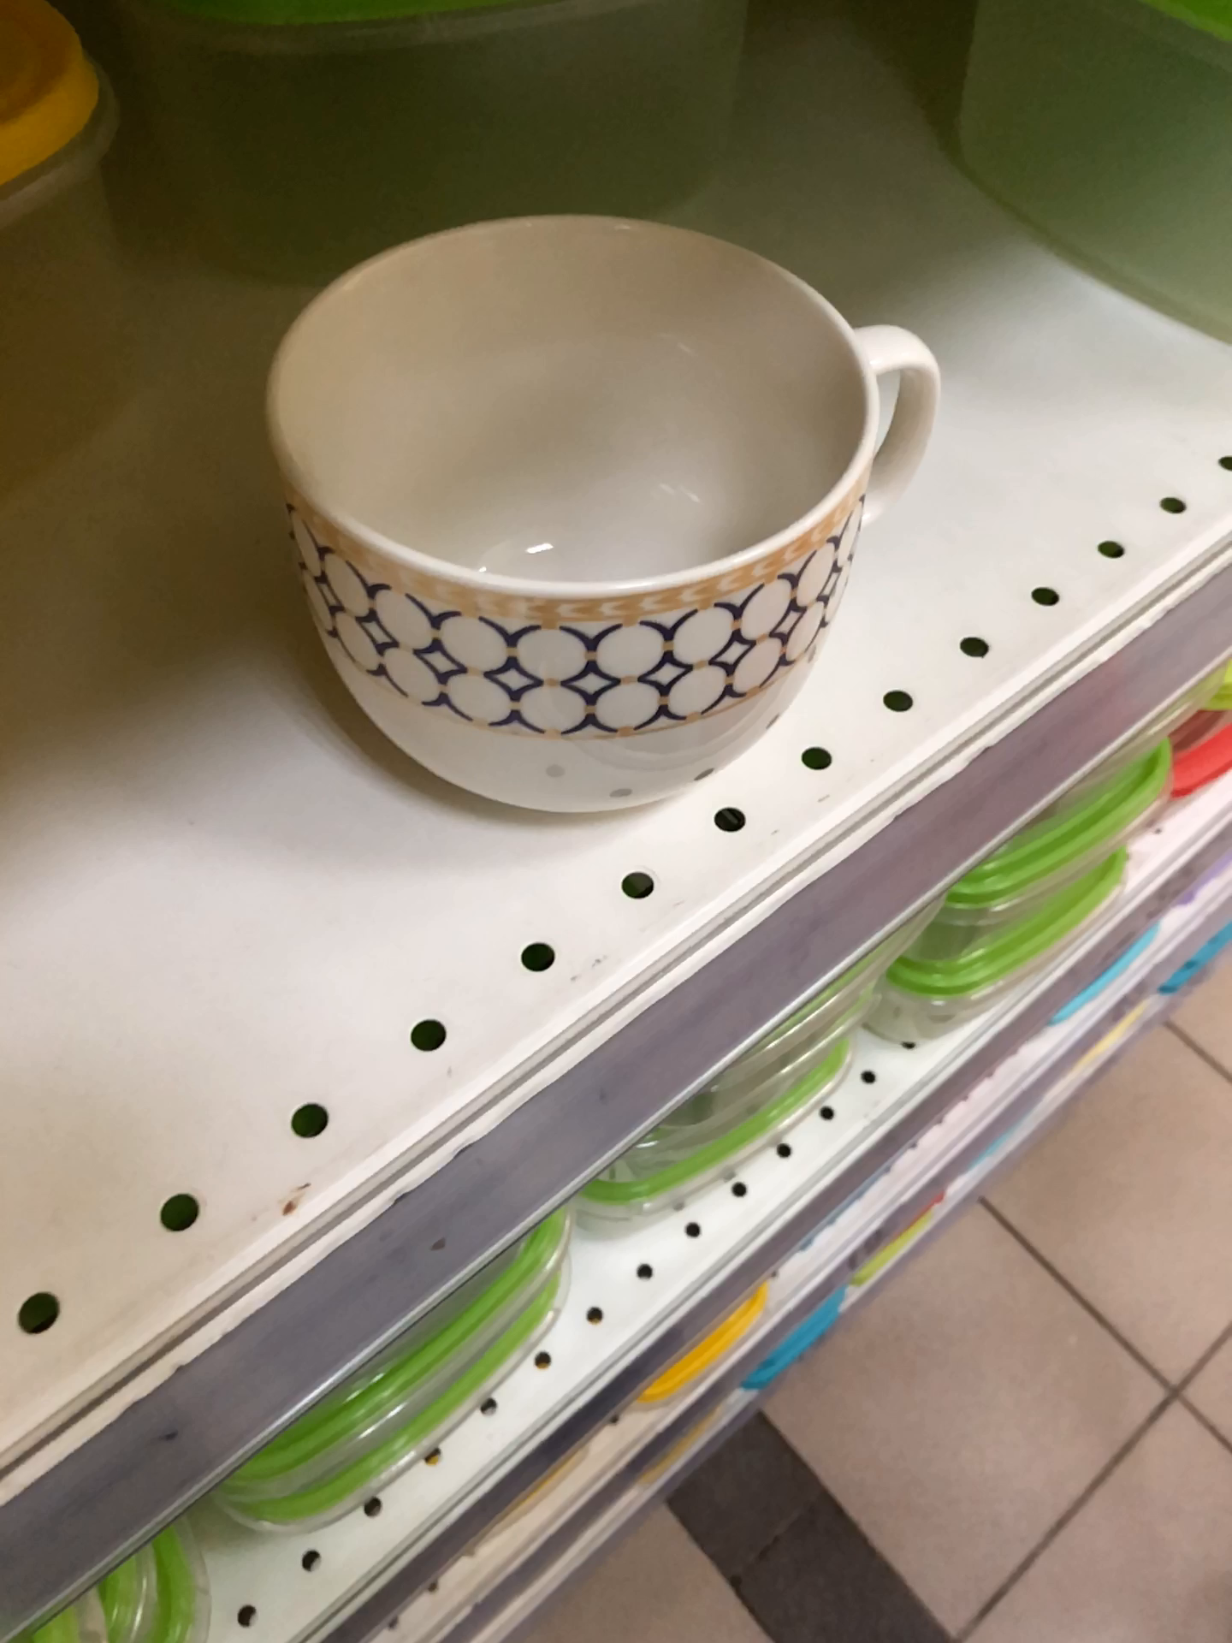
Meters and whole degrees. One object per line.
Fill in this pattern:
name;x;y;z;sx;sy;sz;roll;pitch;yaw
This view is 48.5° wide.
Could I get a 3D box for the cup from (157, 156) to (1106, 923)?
cup;-0.003;-0.059;0.260;0.134;0.062;0.105;-16;58;-14
